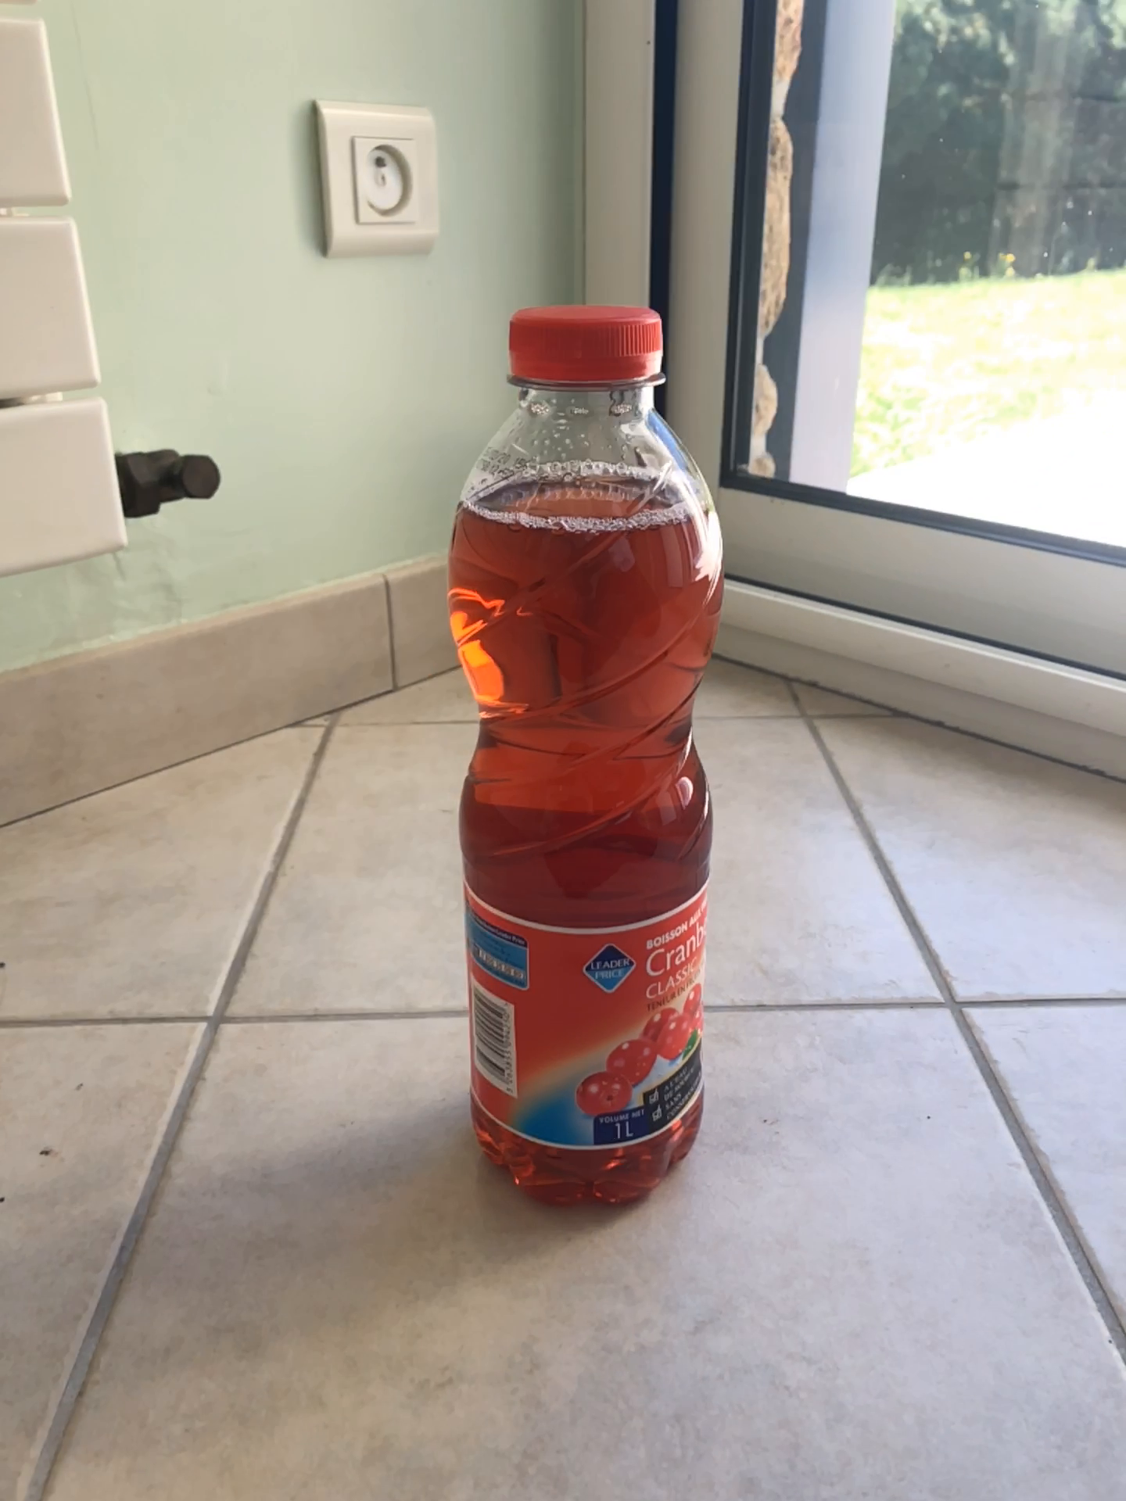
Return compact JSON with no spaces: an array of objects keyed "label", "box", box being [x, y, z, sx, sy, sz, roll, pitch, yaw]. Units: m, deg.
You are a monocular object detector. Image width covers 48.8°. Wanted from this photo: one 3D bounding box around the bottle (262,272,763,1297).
[{"label":"bottle","box":[-0.009,0.009,0.346,0.080,0.259,0.091,16,29,32]}]
